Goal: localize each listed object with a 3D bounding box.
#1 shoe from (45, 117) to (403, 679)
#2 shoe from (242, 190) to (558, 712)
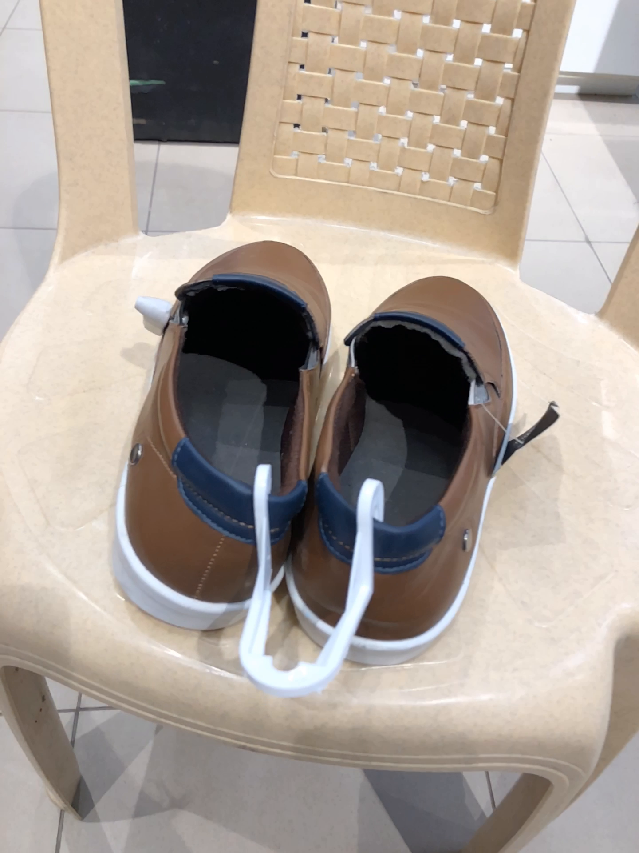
[{"bbox_3d":[-0.030,-0.033,0.361,0.104,0.099,0.272,24,43,-18],"label":"shoe"},{"bbox_3d":[0.059,-0.013,0.375,0.104,0.099,0.272,10,46,12],"label":"shoe"}]
